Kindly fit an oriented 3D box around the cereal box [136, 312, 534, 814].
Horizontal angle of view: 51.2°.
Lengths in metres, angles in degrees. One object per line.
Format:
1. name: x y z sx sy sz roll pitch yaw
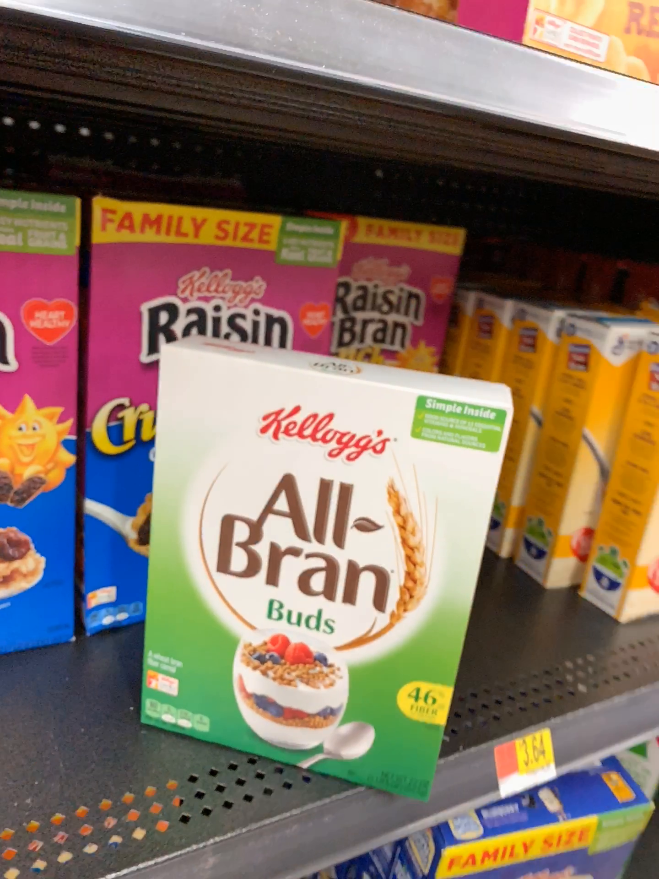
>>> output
1. cereal box: -0.007 0.072 0.403 0.190 0.259 0.050 11 18 9
